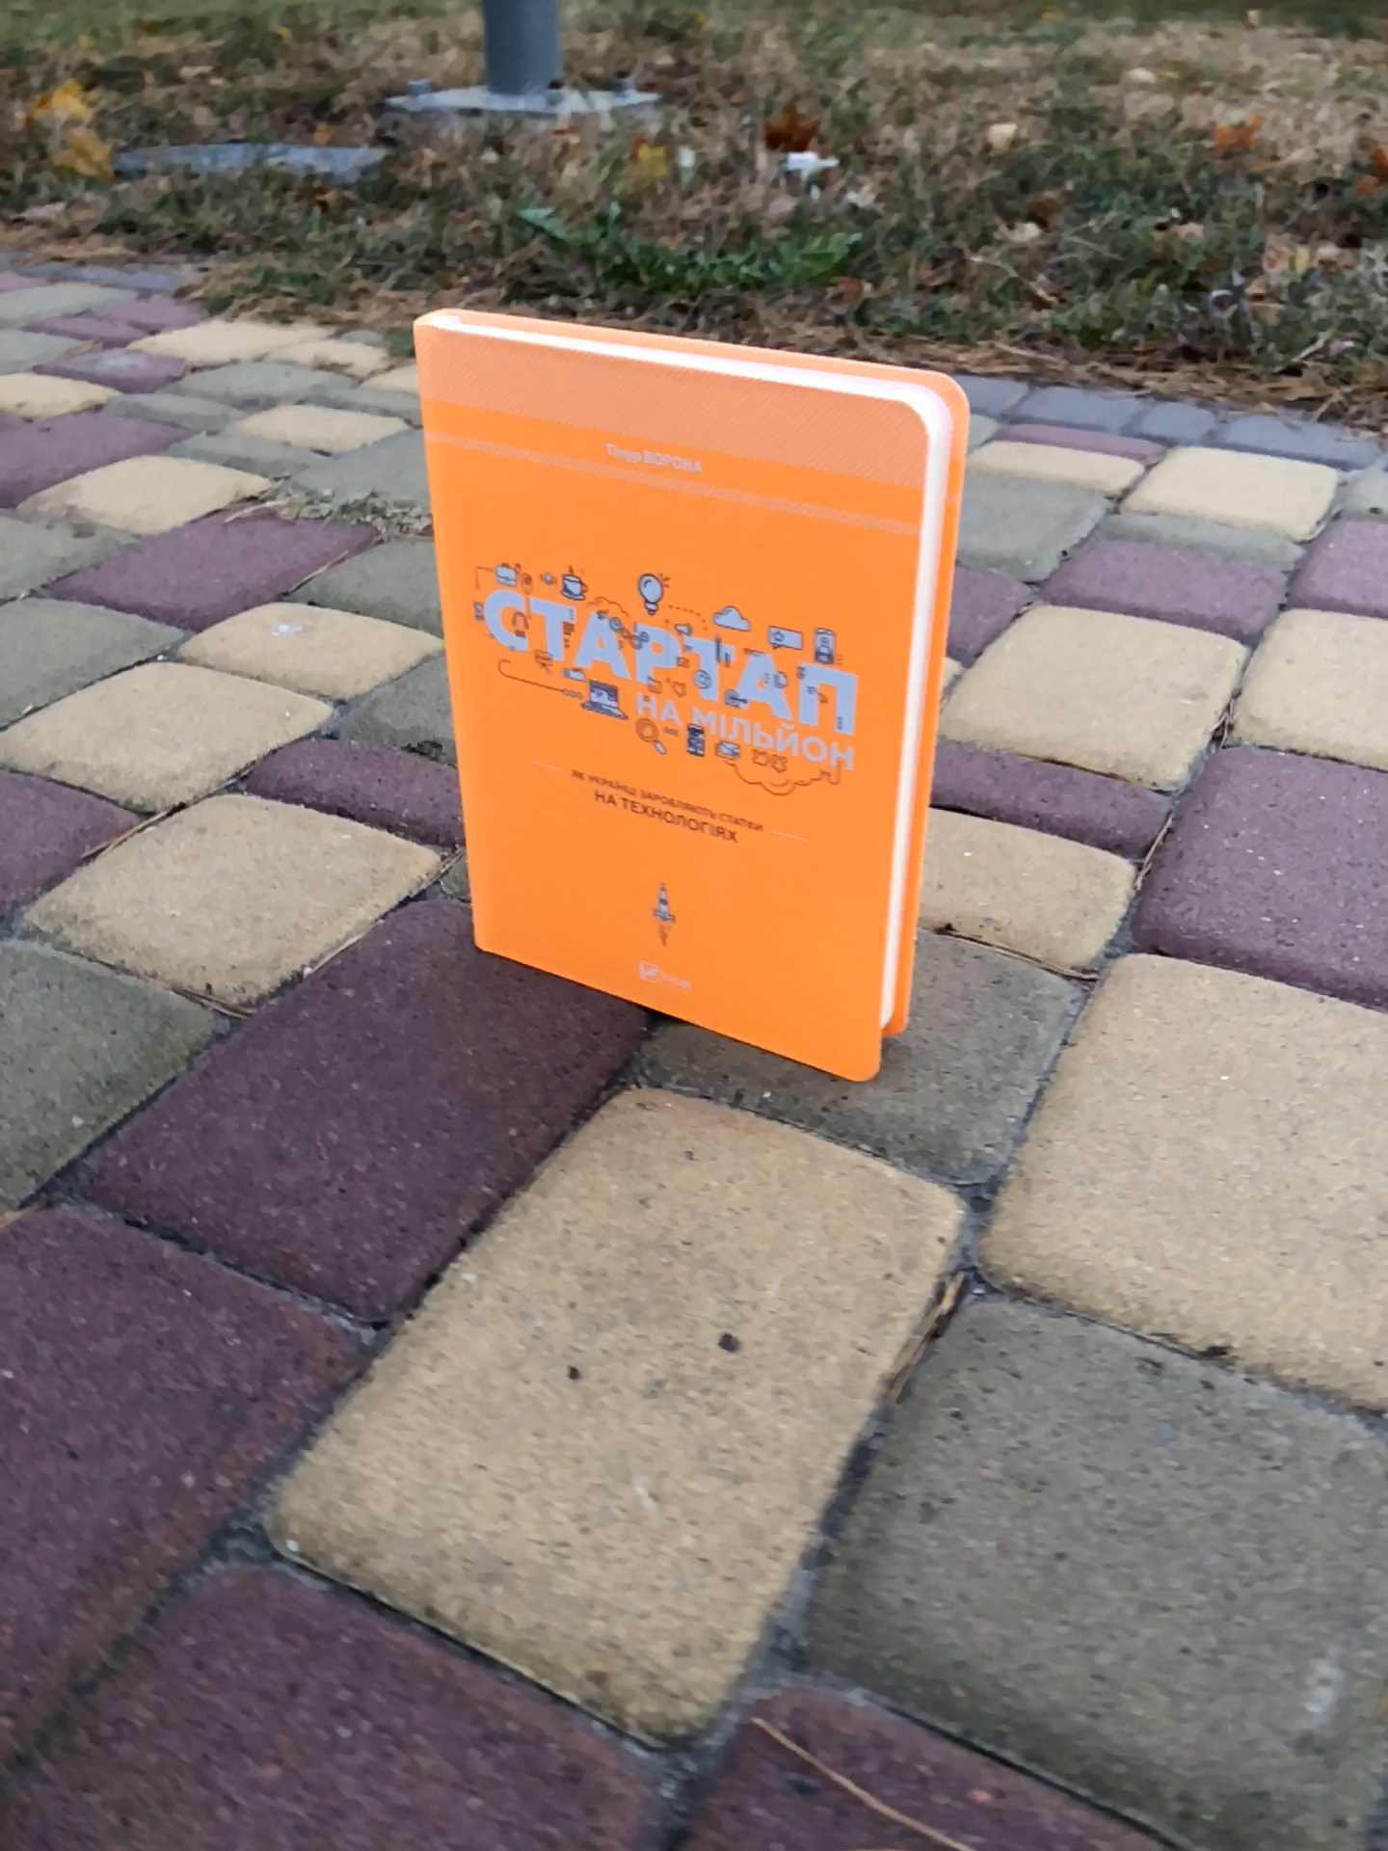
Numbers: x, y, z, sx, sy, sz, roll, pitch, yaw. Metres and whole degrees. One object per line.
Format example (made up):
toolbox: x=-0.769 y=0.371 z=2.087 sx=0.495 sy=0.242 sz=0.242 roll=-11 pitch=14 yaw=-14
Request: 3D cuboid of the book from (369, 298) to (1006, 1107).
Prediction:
book: x=-0.006 y=-0.063 z=0.442 sx=0.164 sy=0.200 sz=0.040 roll=18 pitch=37 yaw=25
